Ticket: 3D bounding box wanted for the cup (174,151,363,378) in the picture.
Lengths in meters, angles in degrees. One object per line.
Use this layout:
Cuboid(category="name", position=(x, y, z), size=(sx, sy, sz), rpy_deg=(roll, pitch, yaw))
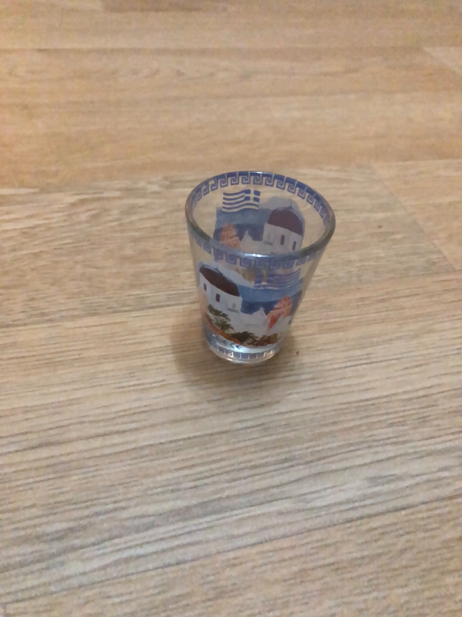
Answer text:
Cuboid(category="cup", position=(0.008, -0.016, 0.187), size=(0.050, 0.060, 0.050), rpy_deg=(3, 44, -3))
